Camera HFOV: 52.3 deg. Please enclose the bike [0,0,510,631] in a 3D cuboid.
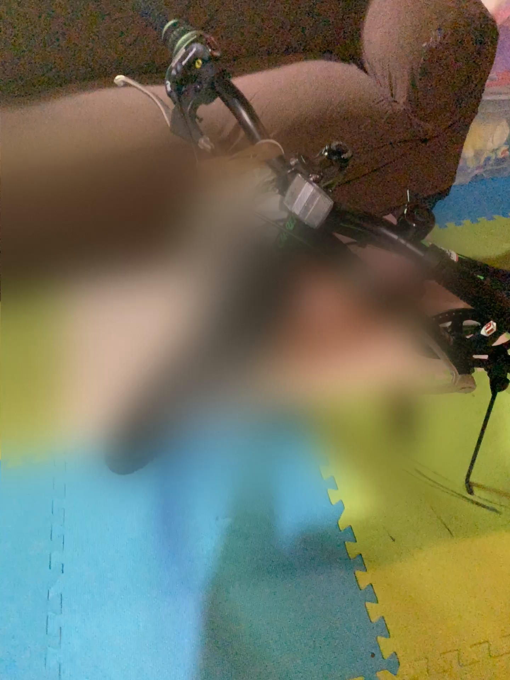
[{"bbox_3d":[0.351,-0.028,0.851,1.268,0.841,0.536,-8,48,-1],"label":"bike"}]
